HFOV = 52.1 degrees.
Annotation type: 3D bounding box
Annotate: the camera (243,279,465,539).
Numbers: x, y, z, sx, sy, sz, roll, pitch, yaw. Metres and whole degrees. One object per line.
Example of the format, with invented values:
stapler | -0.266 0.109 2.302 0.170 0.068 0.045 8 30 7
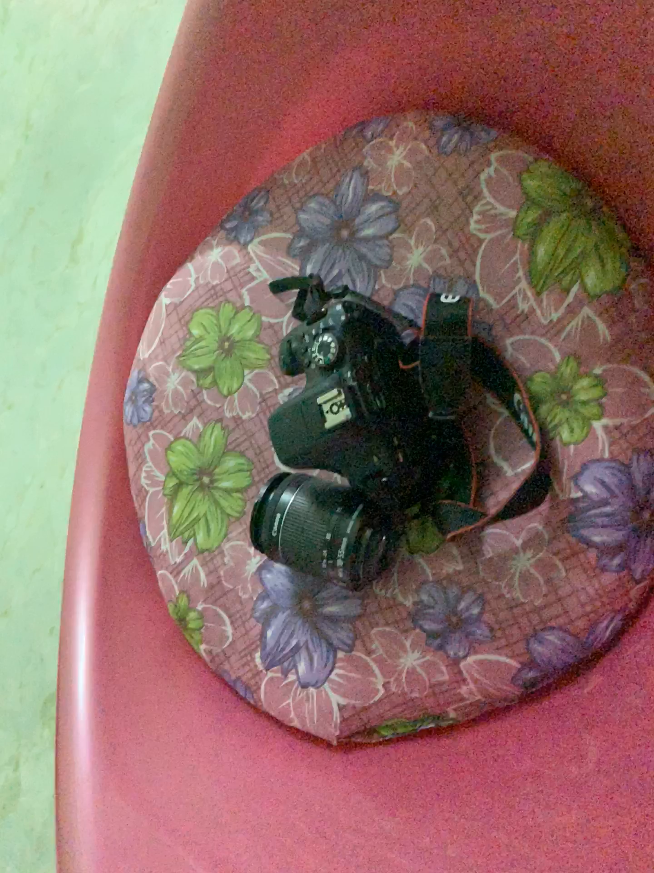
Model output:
camera | 0.017 -0.014 0.456 0.086 0.078 0.143 -28 70 30
